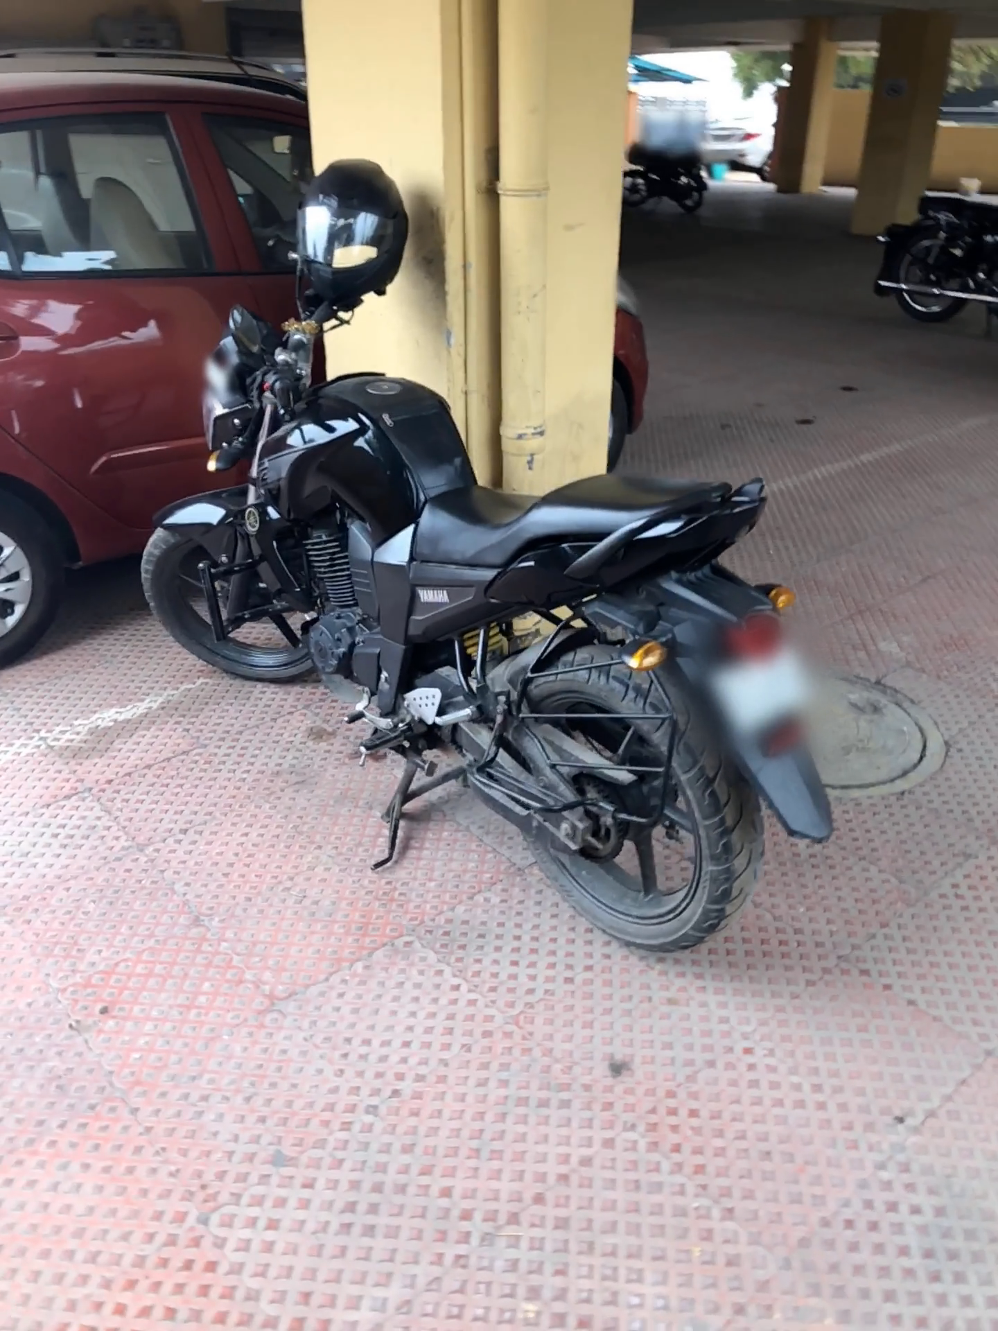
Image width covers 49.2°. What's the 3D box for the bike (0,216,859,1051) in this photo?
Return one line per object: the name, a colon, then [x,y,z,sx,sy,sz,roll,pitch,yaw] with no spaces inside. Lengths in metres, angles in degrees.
bike: [-0.347,-0.239,2.249,1.802,1.052,0.612,24,35,35]
